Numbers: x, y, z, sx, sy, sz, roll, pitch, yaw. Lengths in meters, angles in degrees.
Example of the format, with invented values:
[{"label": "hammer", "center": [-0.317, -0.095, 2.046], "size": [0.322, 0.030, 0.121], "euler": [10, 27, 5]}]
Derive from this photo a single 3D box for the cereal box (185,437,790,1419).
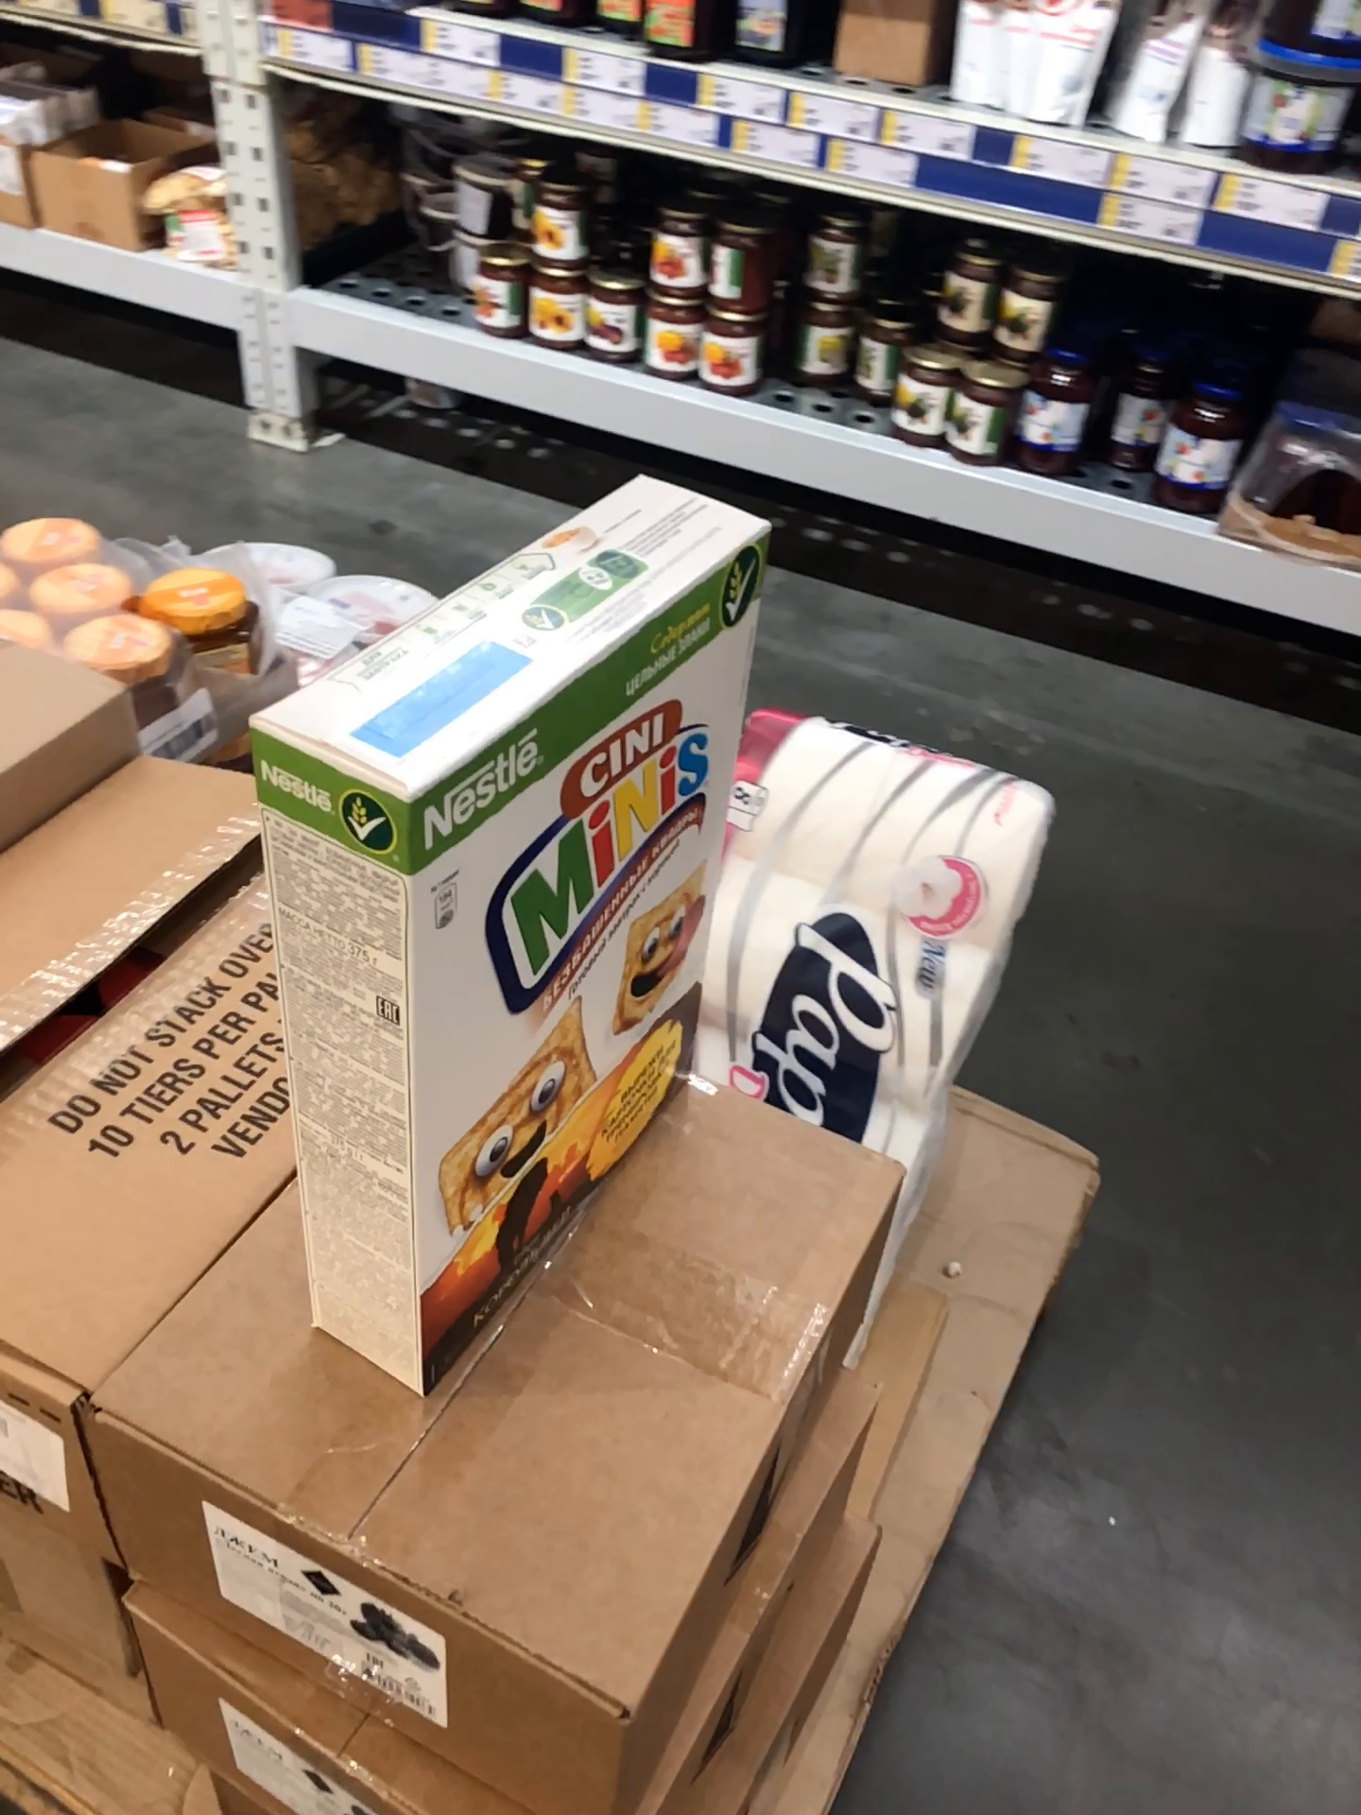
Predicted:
[{"label": "cereal box", "center": [-0.055, 0.012, 0.515], "size": [0.060, 0.278, 0.201], "euler": [26, 45, 21]}]
